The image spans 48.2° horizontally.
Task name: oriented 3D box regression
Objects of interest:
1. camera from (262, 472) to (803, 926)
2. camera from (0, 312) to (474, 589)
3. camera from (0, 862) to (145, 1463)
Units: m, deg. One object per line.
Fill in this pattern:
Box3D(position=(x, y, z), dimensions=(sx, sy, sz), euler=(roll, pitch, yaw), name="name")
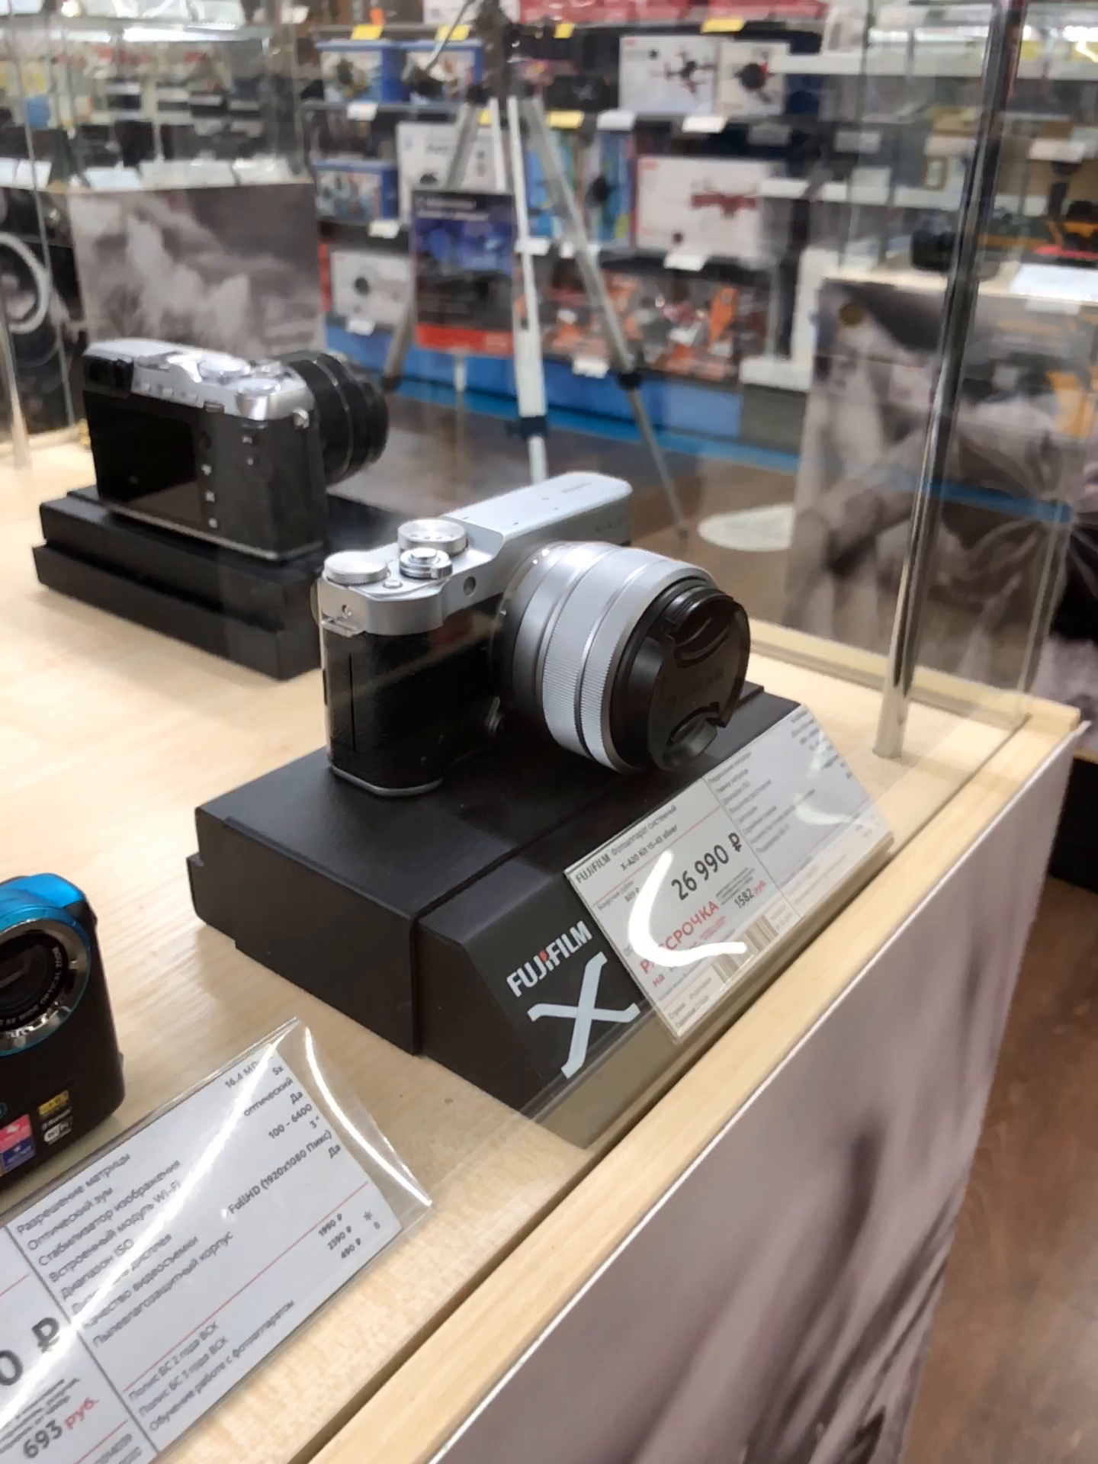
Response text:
Box3D(position=(-0.001, -0.019, 0.349), dimensions=(0.093, 0.070, 0.120), euler=(20, 33, 32), name="camera")
Box3D(position=(-0.149, -0.142, 0.578), dimensions=(0.187, 0.074, 0.130), euler=(19, 32, 31), name="camera")
Box3D(position=(-0.137, 0.080, 0.245), dimensions=(0.025, 0.064, 0.106), euler=(20, 33, 33), name="camera")
